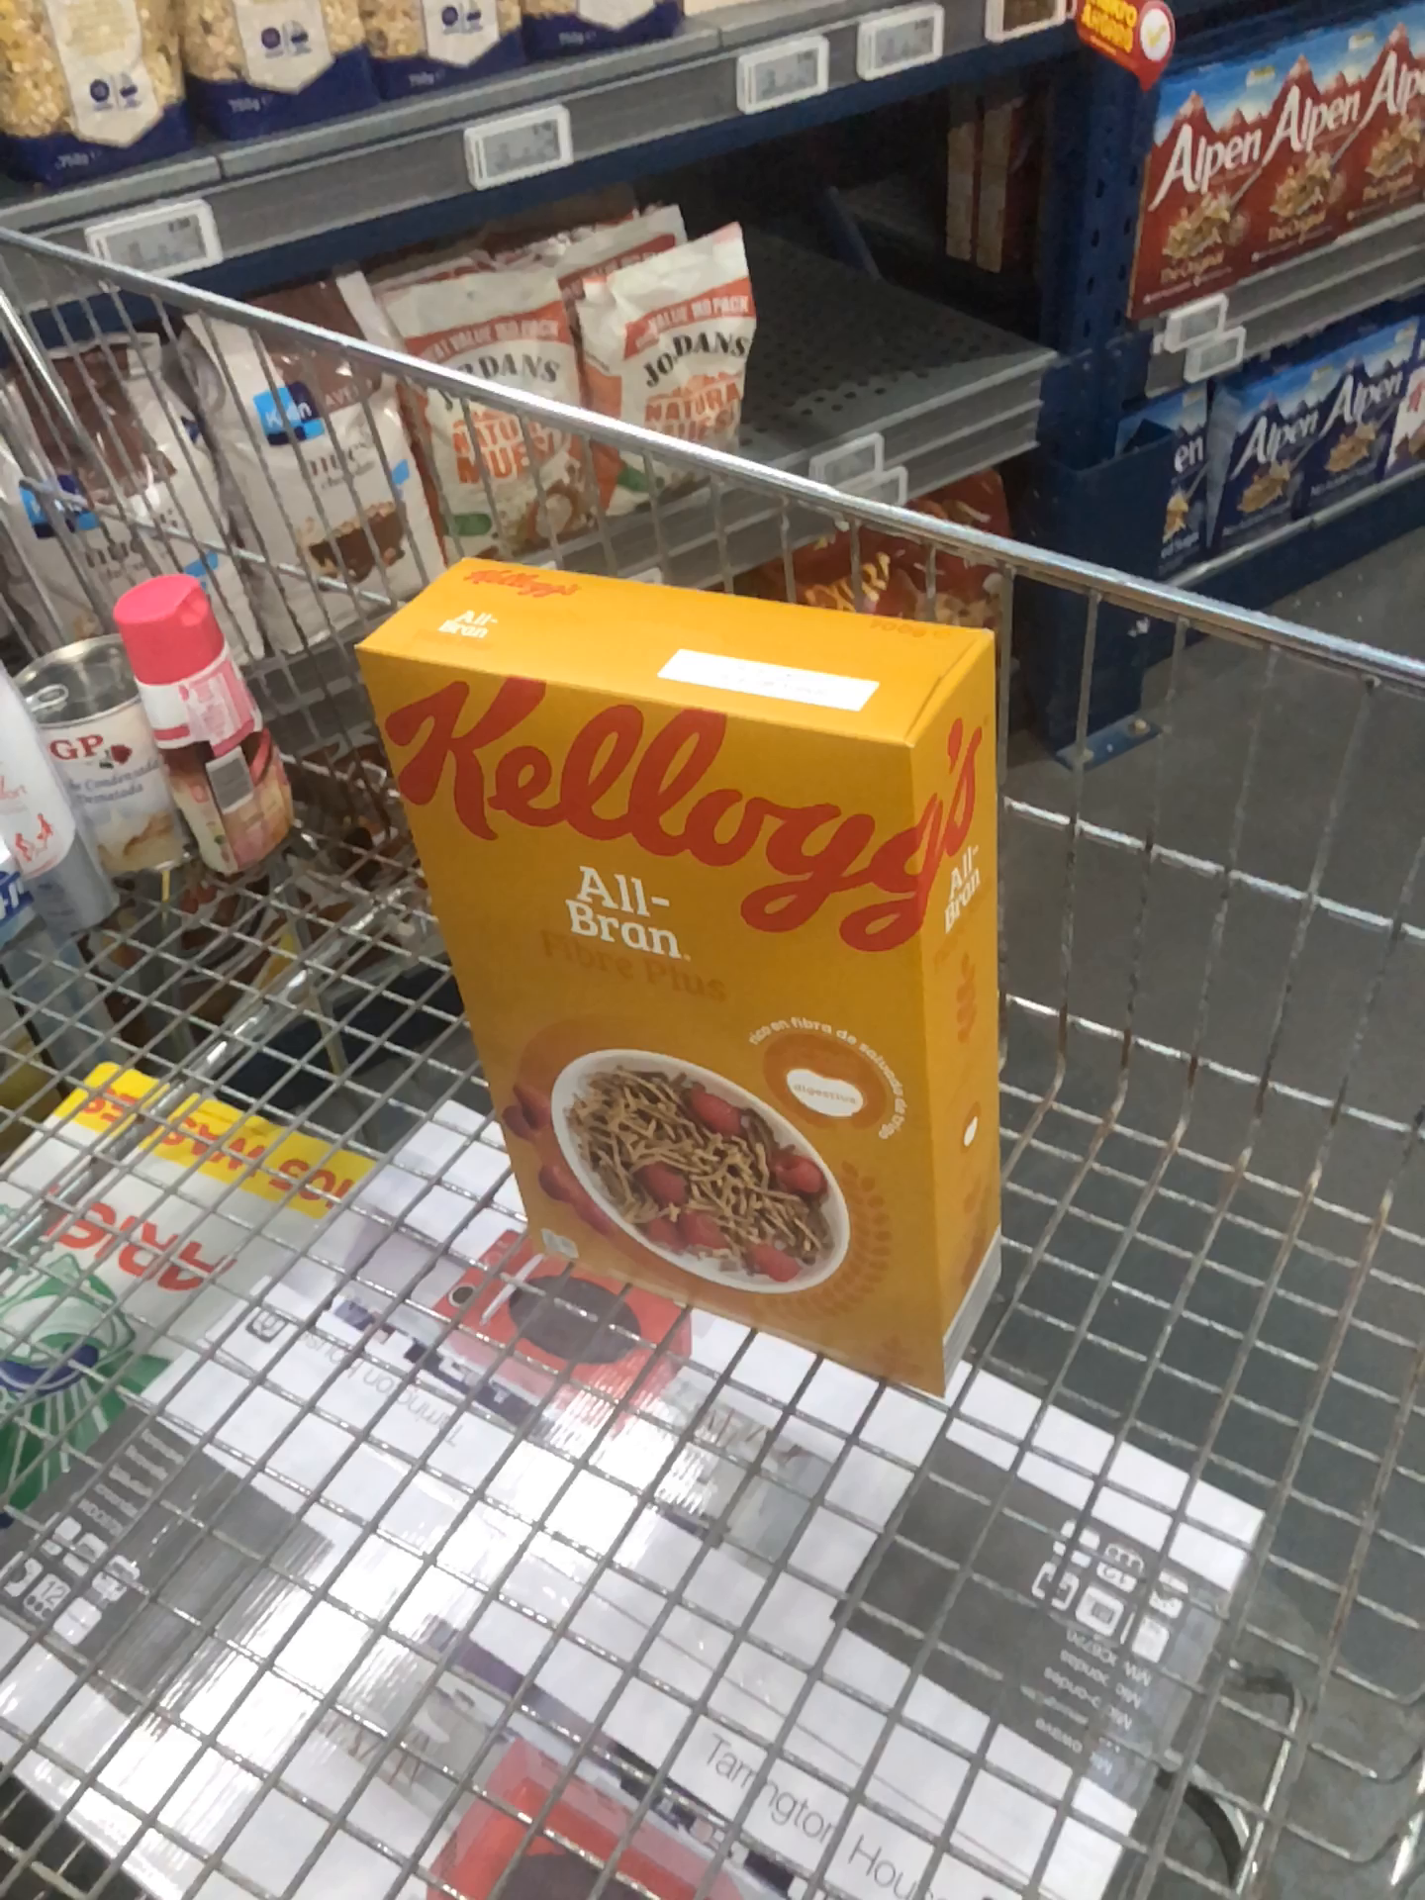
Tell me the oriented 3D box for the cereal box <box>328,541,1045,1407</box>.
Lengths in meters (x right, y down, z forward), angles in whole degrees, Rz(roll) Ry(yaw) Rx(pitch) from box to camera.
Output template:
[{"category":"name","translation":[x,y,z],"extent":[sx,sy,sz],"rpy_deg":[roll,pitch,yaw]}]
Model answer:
[{"category":"cereal box","translation":[0.007,0.015,0.553],"extent":[0.200,0.289,0.070],"rpy_deg":[14,45,27]}]
